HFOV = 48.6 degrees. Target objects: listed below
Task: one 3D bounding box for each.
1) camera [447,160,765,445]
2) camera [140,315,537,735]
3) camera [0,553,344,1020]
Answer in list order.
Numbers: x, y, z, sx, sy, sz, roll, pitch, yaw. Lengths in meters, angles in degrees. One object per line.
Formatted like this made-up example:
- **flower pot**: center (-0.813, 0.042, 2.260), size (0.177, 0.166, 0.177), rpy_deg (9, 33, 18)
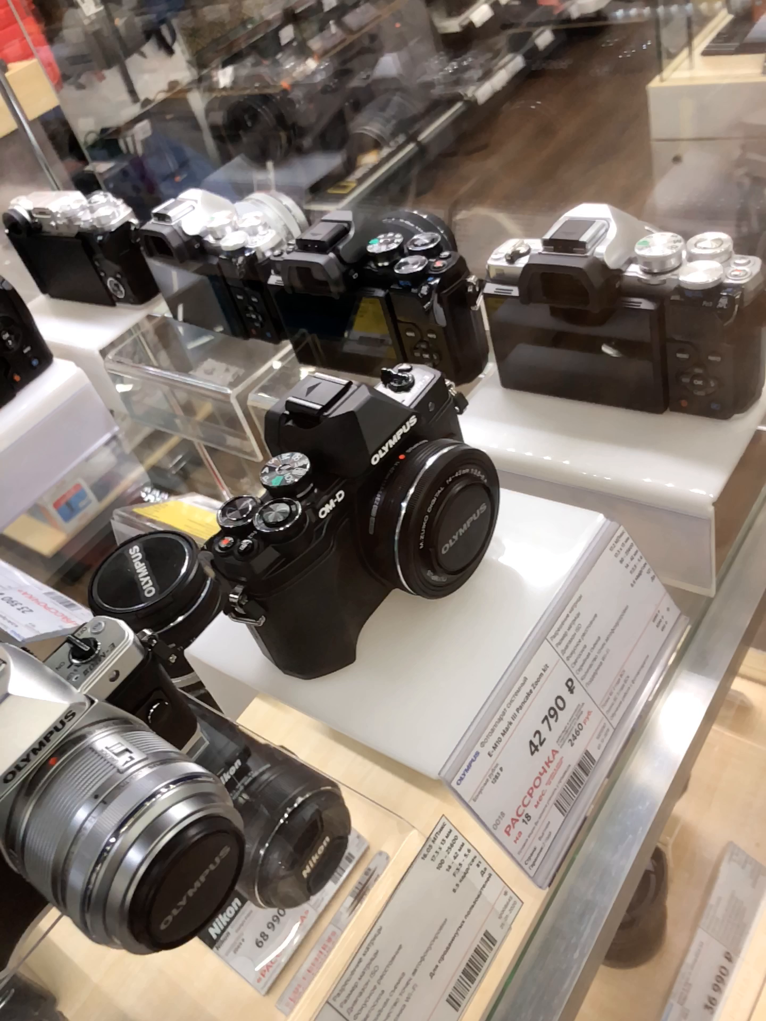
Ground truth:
- **camera**: center (0.113, -0.098, 0.382), size (0.124, 0.074, 0.094), rpy_deg (16, 52, 35)
- **camera**: center (-0.009, 0.000, 0.326), size (0.064, 0.082, 0.129), rpy_deg (20, 55, 38)
- **camera**: center (-0.093, 0.092, 0.252), size (0.094, 0.080, 0.112), rpy_deg (20, 55, 38)
